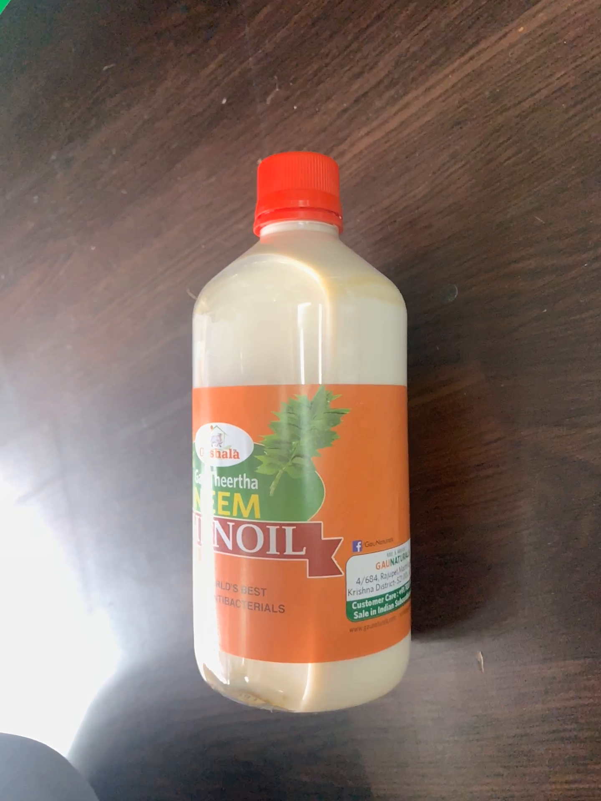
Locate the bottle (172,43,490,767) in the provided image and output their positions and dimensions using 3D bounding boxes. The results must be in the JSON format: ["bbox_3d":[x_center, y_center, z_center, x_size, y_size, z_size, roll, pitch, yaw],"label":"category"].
[{"bbox_3d":[0.012,0.002,0.217,0.080,0.070,0.190,-1,91,37],"label":"bottle"}]
